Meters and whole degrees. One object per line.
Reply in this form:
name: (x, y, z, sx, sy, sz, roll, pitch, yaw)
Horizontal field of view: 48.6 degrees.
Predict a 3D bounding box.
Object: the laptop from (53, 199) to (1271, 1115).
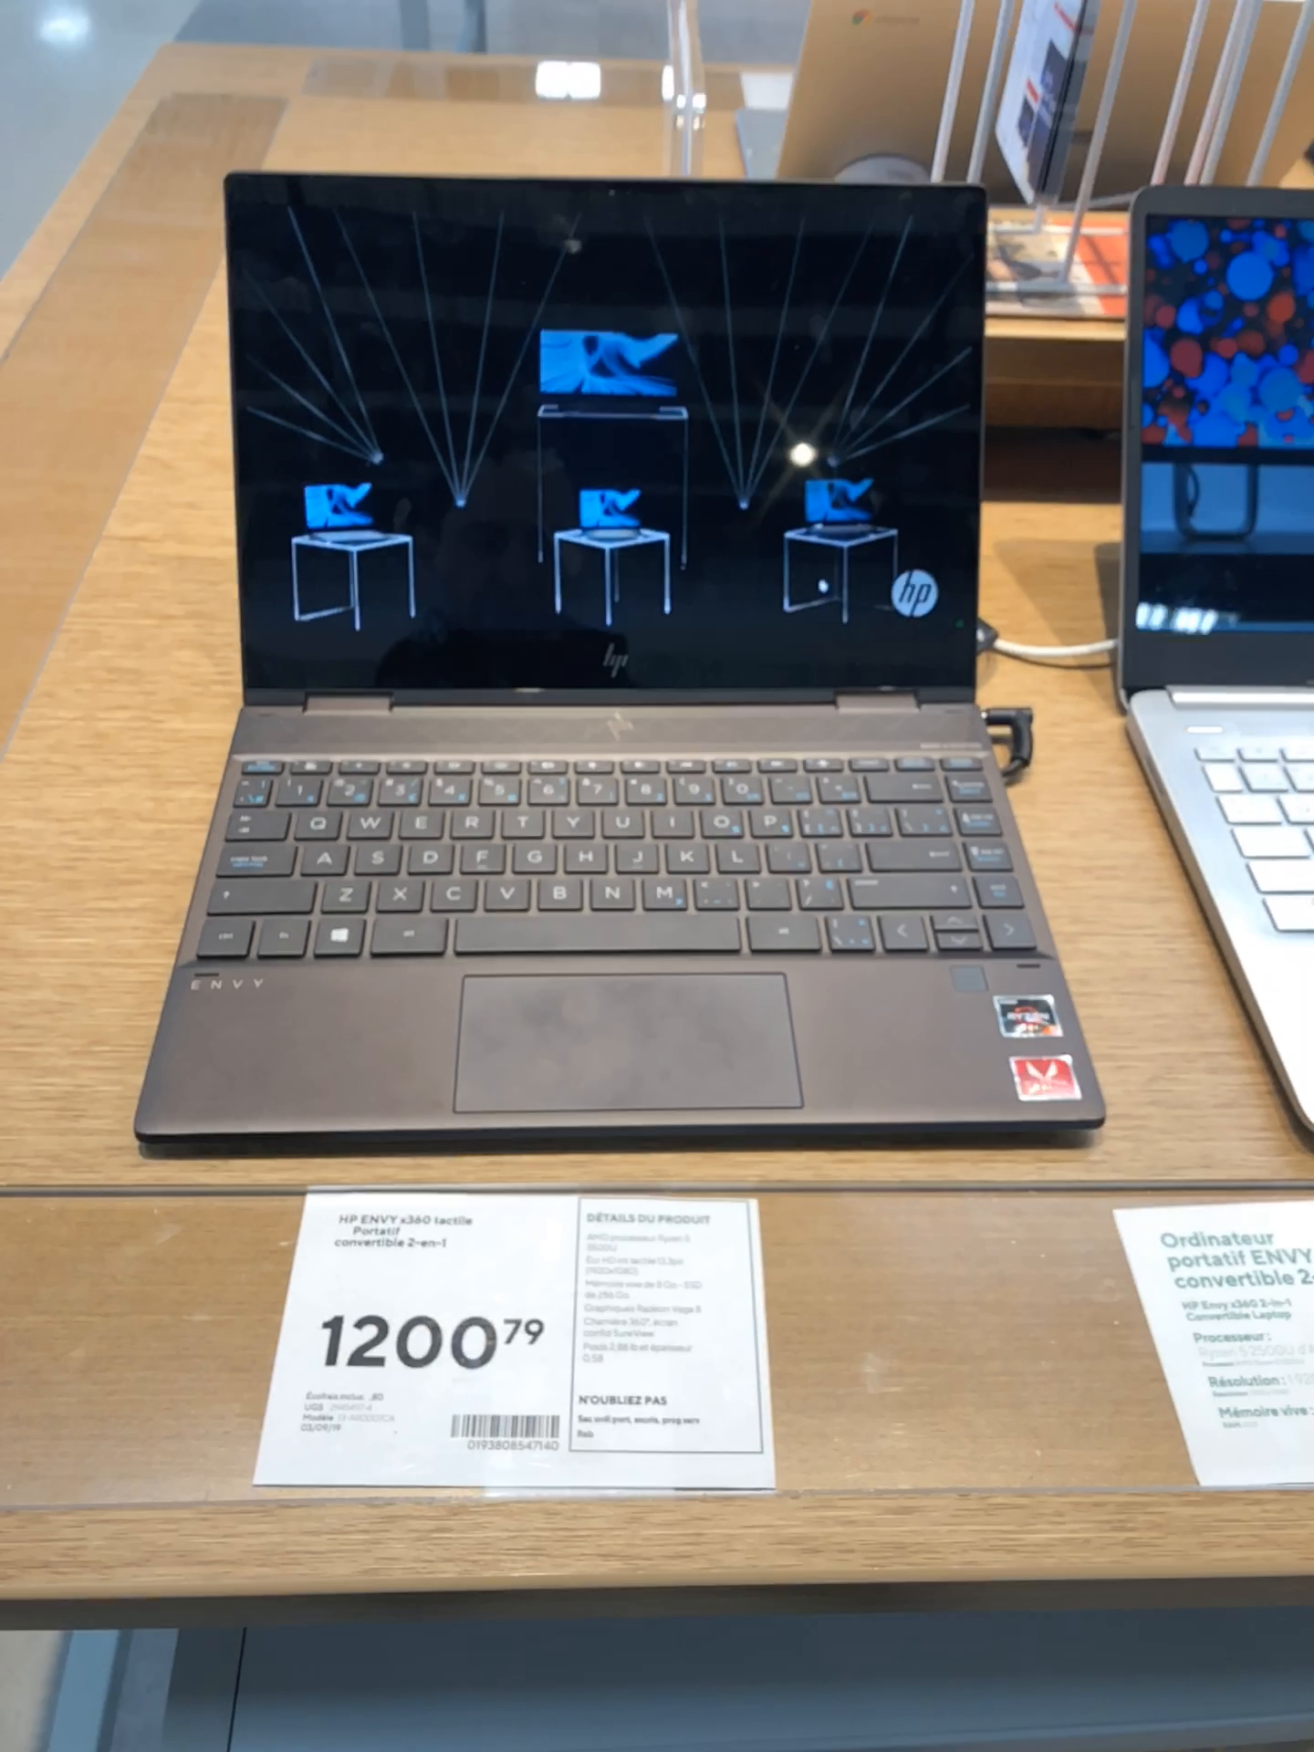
laptop: (-0.004, -0.098, 0.520, 0.293, 0.162, 0.319, -1, 45, -3)
